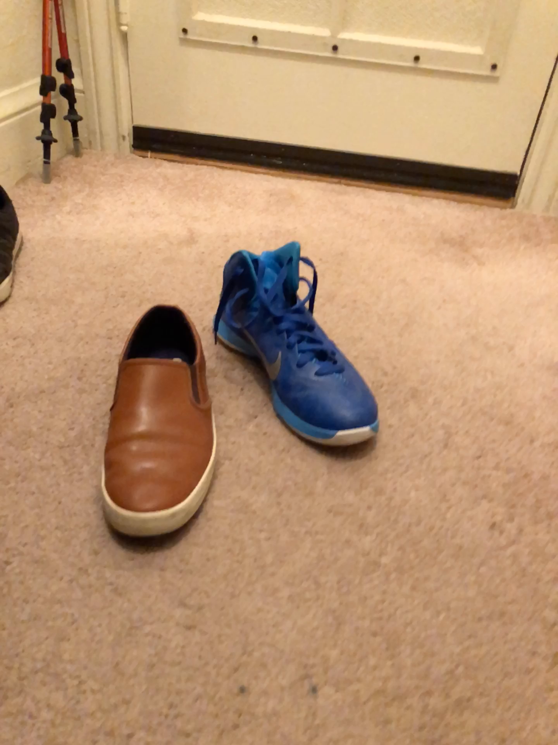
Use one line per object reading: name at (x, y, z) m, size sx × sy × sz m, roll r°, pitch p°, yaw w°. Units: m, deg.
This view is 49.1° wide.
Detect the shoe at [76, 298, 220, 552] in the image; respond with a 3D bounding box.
shoe at (-0.116, 0.035, 0.612) m, size 0.105 × 0.083 × 0.283 m, roll 2°, pitch 37°, yaw -5°

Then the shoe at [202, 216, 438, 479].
shoe at (0.024, -0.045, 0.693) m, size 0.115 × 0.142 × 0.293 m, roll -15°, pitch 42°, yaw -25°

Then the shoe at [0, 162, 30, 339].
shoe at (-0.422, -0.177, 0.823) m, size 0.115 × 0.113 × 0.293 m, roll -4°, pitch 38°, yaw -12°
